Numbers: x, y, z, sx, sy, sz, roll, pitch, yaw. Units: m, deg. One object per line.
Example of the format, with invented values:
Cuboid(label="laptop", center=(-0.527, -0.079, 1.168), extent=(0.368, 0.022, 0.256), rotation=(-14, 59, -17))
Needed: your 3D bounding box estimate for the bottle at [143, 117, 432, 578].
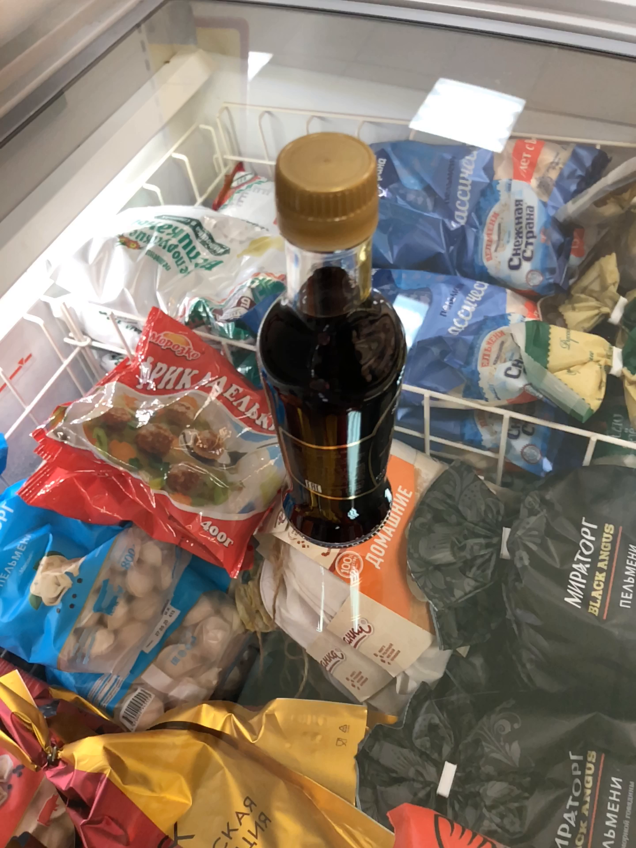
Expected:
Cuboid(label="bottle", center=(0.004, -0.017, 0.279), extent=(0.070, 0.180, 0.070), rotation=(-4, 52, 5))
